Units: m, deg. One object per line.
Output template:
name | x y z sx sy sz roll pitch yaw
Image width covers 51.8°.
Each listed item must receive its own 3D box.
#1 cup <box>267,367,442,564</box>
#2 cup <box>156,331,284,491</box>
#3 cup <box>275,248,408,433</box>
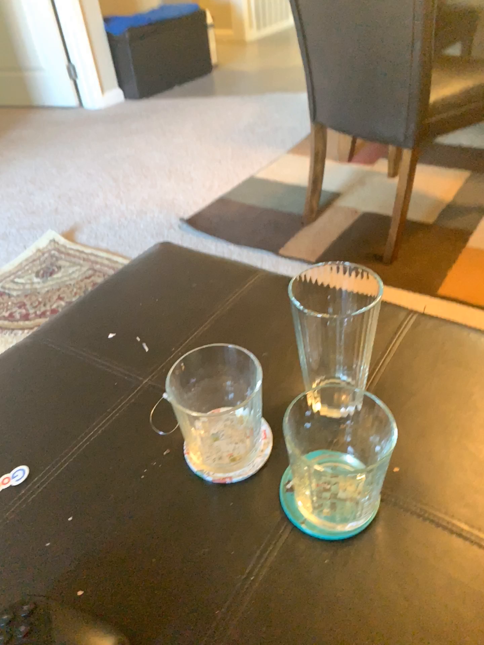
cup | 0.090 0.117 0.421 0.100 0.089 0.090 -25 42 -21
cup | -0.019 0.089 0.509 0.090 0.109 0.080 -25 42 -21
cup | 0.095 0.018 0.499 0.080 0.139 0.090 -25 42 -21
